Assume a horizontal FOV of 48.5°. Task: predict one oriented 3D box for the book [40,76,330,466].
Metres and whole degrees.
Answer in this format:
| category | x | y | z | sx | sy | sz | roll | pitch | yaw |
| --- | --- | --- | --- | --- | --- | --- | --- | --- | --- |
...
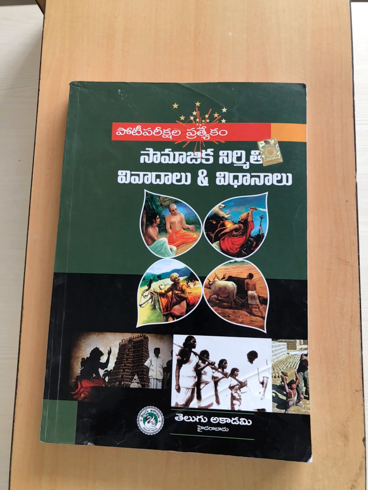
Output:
| category | x | y | z | sx | sy | sz | roll | pitch | yaw |
| --- | --- | --- | --- | --- | --- | --- | --- | --- | --- |
| book | 0.004 | 0.010 | 0.311 | 0.190 | 0.050 | 0.270 | 1 | 82 | 3 |
